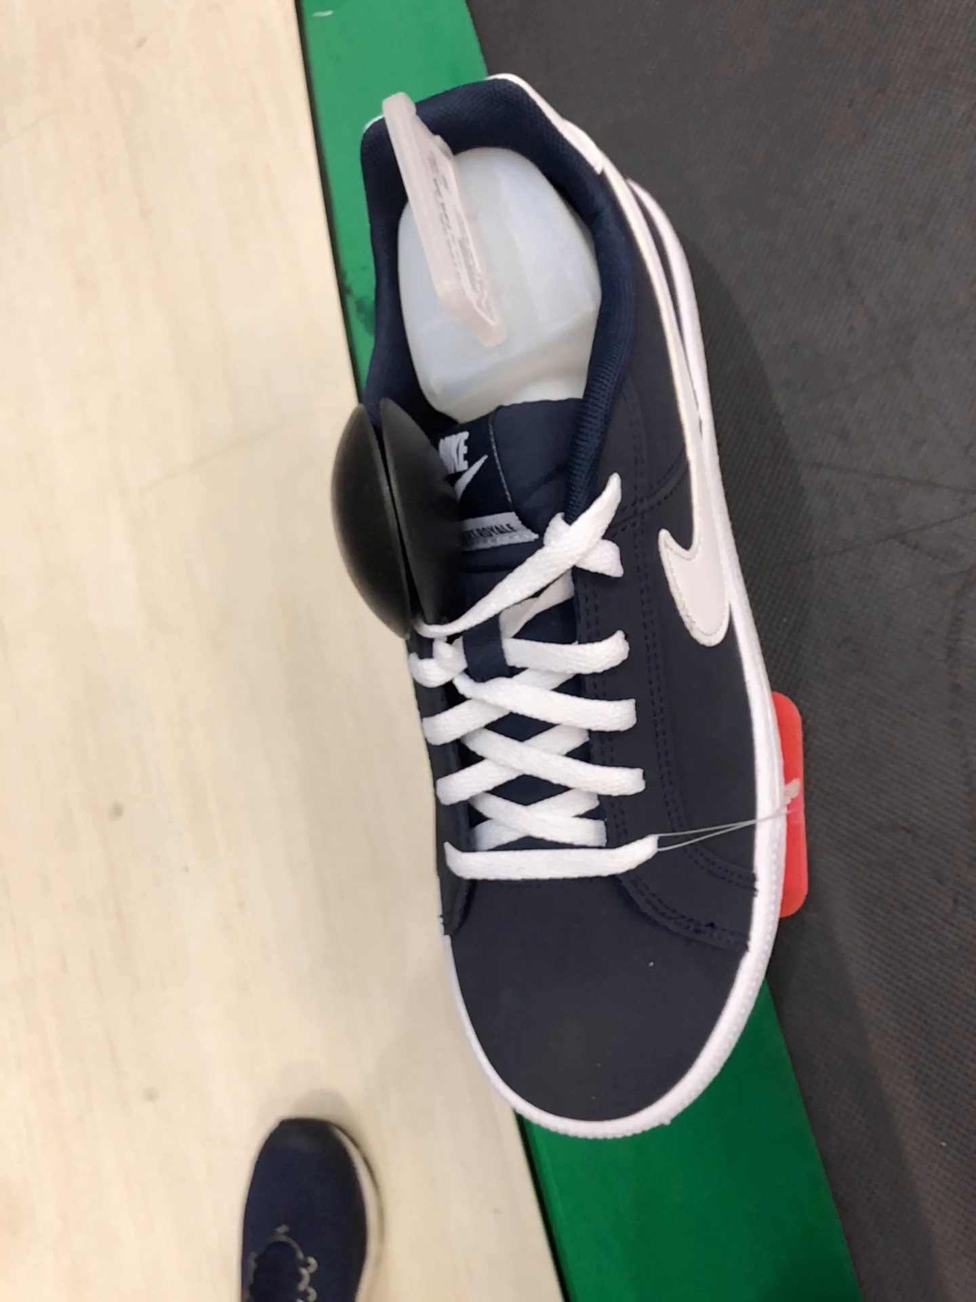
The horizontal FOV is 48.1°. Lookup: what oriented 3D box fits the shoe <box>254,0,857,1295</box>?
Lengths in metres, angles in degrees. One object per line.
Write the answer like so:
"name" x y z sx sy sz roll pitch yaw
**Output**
"shoe" 0.018 -0.002 0.270 0.110 0.090 0.250 -6 83 23
